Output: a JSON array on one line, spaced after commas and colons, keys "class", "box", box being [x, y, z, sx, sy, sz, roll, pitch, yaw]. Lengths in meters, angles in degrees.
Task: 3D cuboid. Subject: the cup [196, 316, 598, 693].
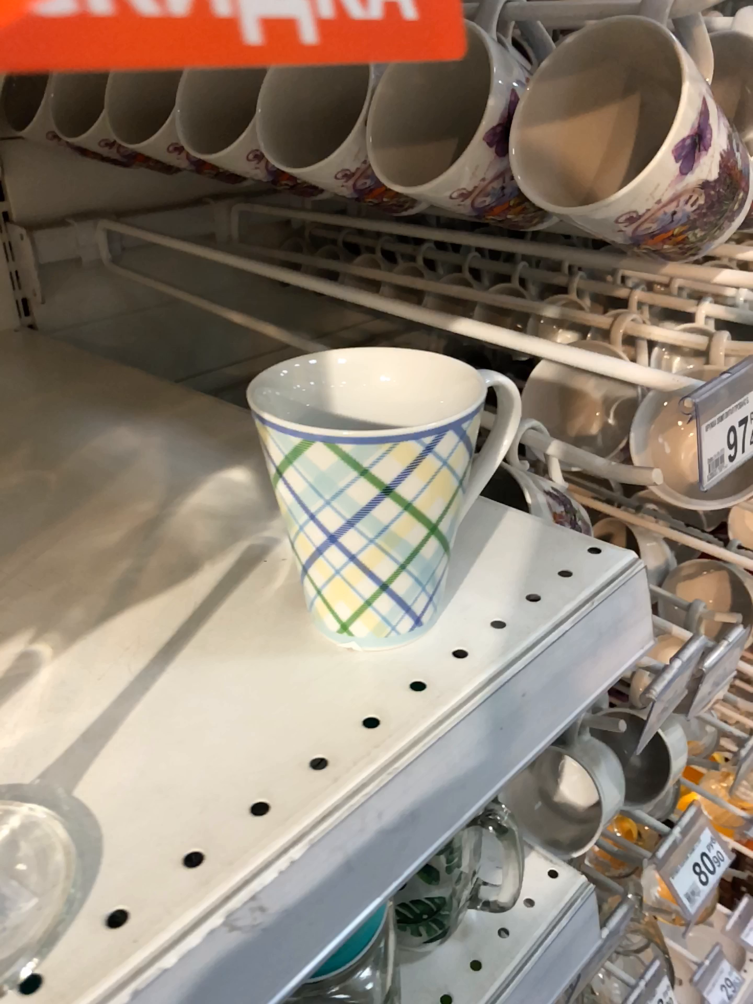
[{"class": "cup", "box": [0.010, -0.009, 0.318, 0.116, 0.085, 0.088, -25, 36, -37]}]
